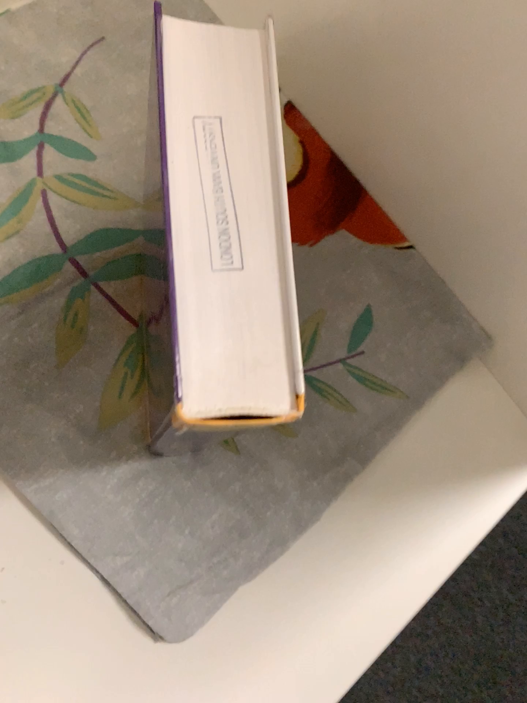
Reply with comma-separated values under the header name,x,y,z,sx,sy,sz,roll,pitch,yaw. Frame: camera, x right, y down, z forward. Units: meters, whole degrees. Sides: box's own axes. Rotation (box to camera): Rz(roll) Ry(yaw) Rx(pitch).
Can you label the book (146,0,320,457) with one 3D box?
name,x,y,z,sx,sy,sz,roll,pitch,yaw
book,-0.037,-0.032,0.304,0.049,0.244,0.168,-1,78,-13
